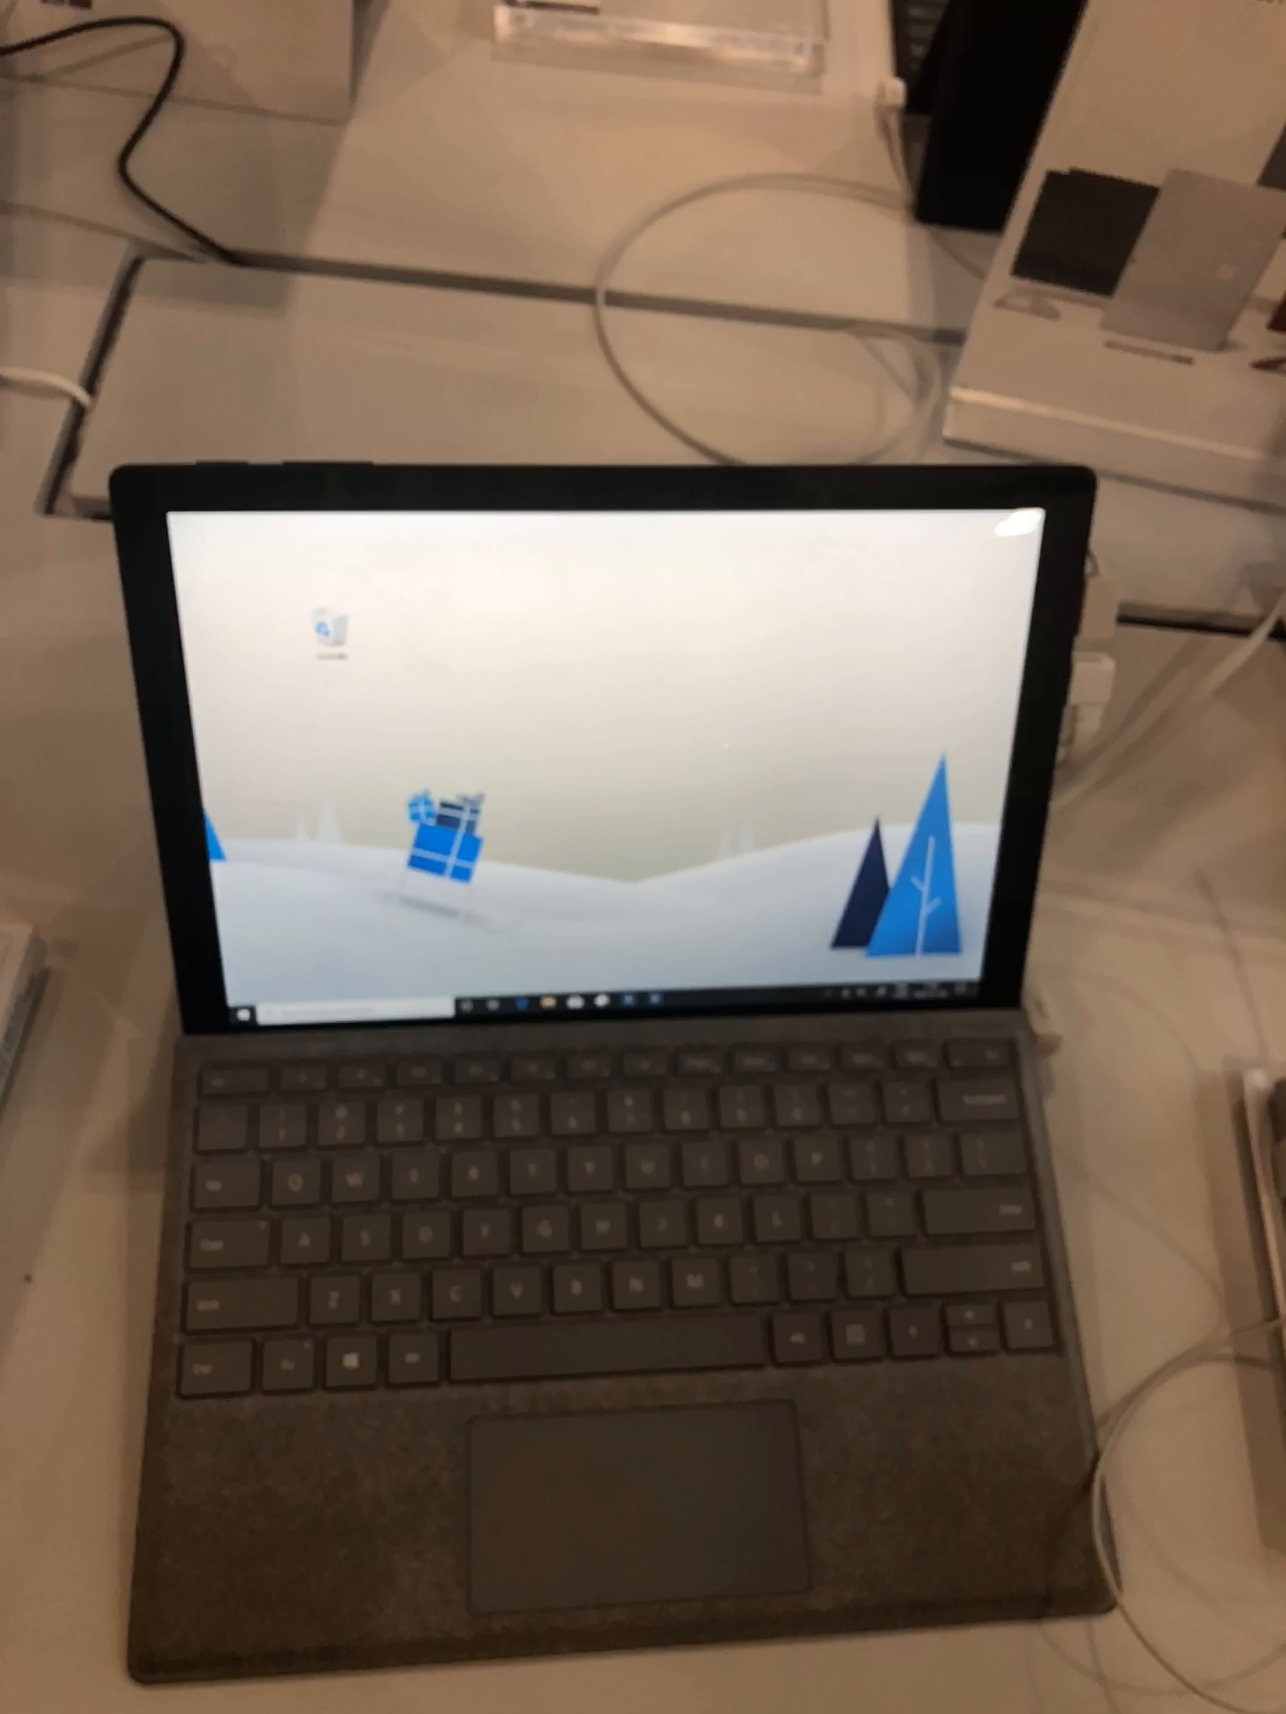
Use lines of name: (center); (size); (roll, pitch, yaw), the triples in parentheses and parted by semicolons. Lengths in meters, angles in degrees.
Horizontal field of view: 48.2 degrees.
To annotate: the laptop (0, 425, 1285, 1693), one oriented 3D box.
laptop: (-0.004, 0.054, 0.418); (0.285, 0.150, 0.308); (-1, 65, -7)
